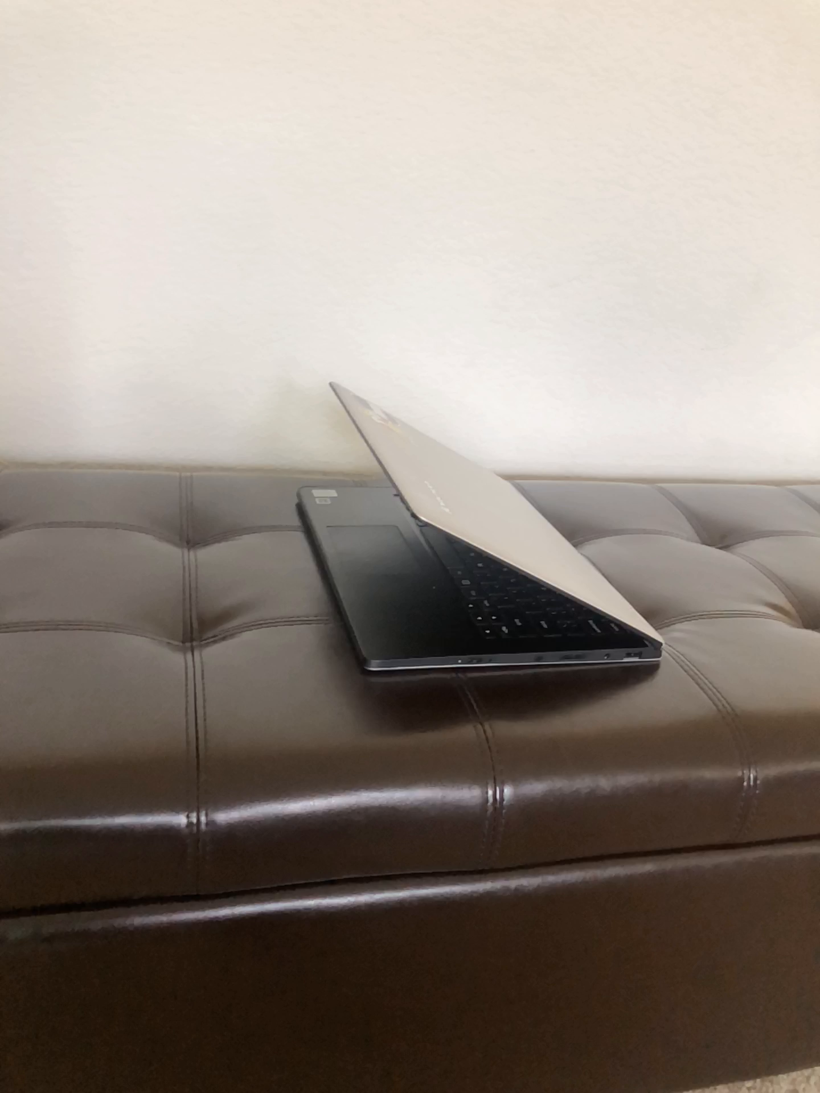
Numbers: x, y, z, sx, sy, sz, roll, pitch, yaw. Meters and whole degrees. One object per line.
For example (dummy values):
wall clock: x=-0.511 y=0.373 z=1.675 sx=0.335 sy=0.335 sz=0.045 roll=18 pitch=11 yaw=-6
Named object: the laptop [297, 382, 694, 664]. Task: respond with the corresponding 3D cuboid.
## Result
laptop: x=0.038 y=-0.035 z=0.683 sx=0.197 sy=0.097 sz=0.294 roll=-1 pitch=25 yaw=-16
